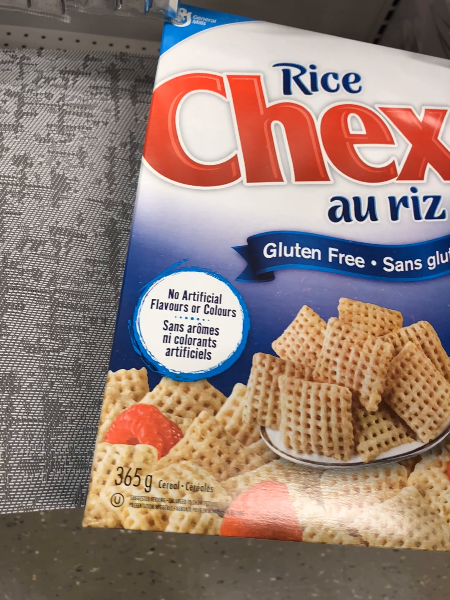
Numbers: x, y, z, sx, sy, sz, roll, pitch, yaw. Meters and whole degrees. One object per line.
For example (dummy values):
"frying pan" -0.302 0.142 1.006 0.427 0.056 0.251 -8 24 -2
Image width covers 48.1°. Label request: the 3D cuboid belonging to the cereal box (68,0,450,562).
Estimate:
"cereal box" 0.047 -0.023 0.297 0.210 0.070 0.300 8 67 -9
